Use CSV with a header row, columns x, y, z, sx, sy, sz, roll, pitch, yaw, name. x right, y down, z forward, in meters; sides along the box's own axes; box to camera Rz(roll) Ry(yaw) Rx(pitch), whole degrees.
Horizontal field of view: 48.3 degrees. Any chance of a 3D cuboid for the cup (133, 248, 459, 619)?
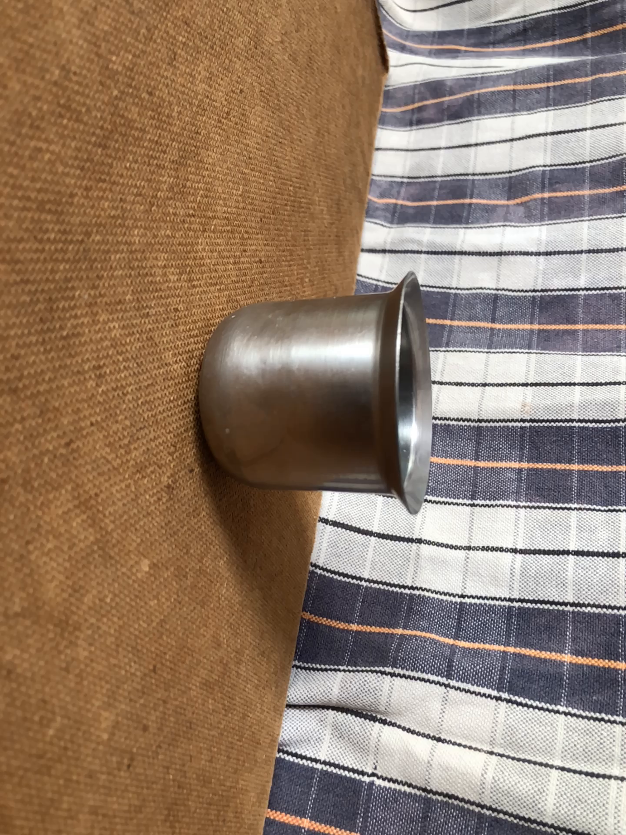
x,y,z,sx,sy,sz,roll,pitch,yaw,name
0.004,0.001,0.189,0.070,0.060,0.070,-1,90,-73,cup
